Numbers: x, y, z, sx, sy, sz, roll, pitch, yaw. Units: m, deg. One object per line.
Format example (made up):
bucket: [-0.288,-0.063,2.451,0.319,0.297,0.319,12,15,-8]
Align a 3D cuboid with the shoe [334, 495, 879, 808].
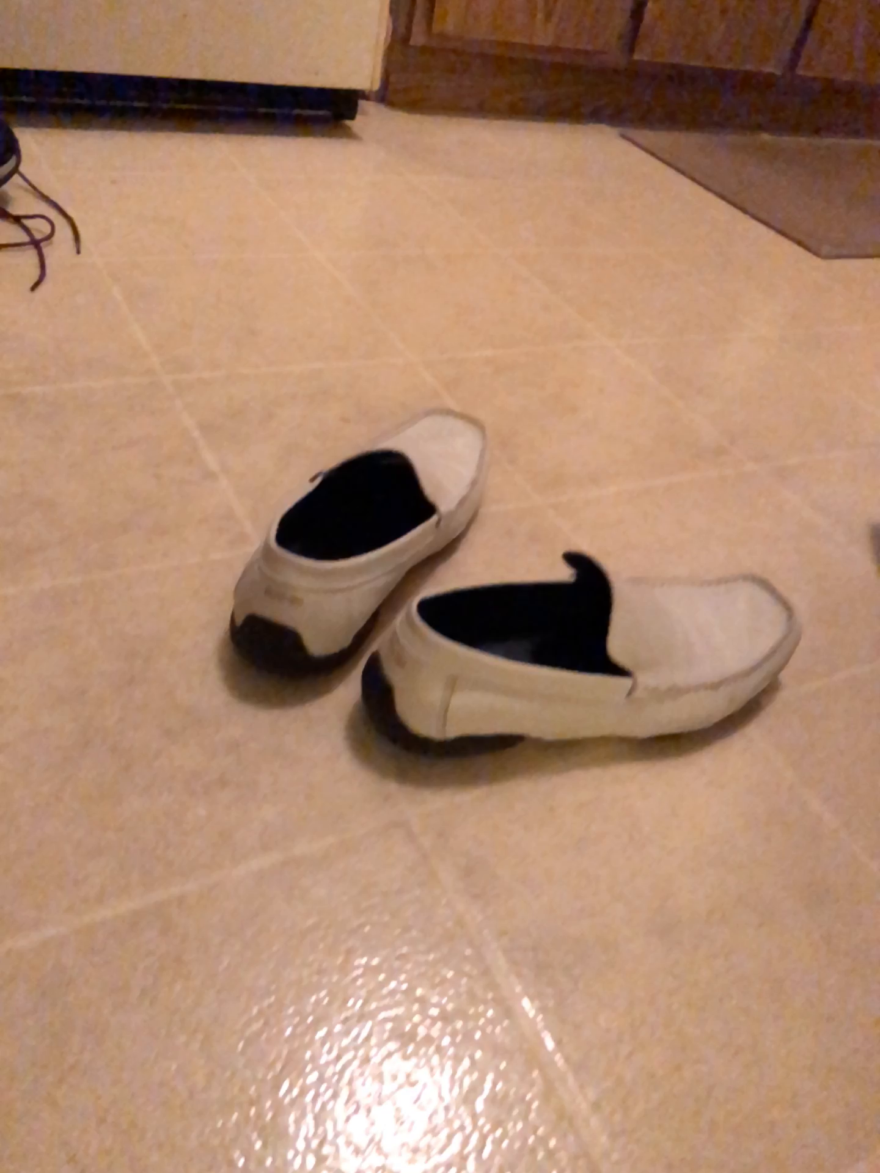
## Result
shoe: [0.098,0.028,0.560,0.290,0.096,0.111,-6,43,-22]

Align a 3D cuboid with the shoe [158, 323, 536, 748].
shoe: [-0.044,-0.054,0.619,0.110,0.096,0.308,21,40,10]
